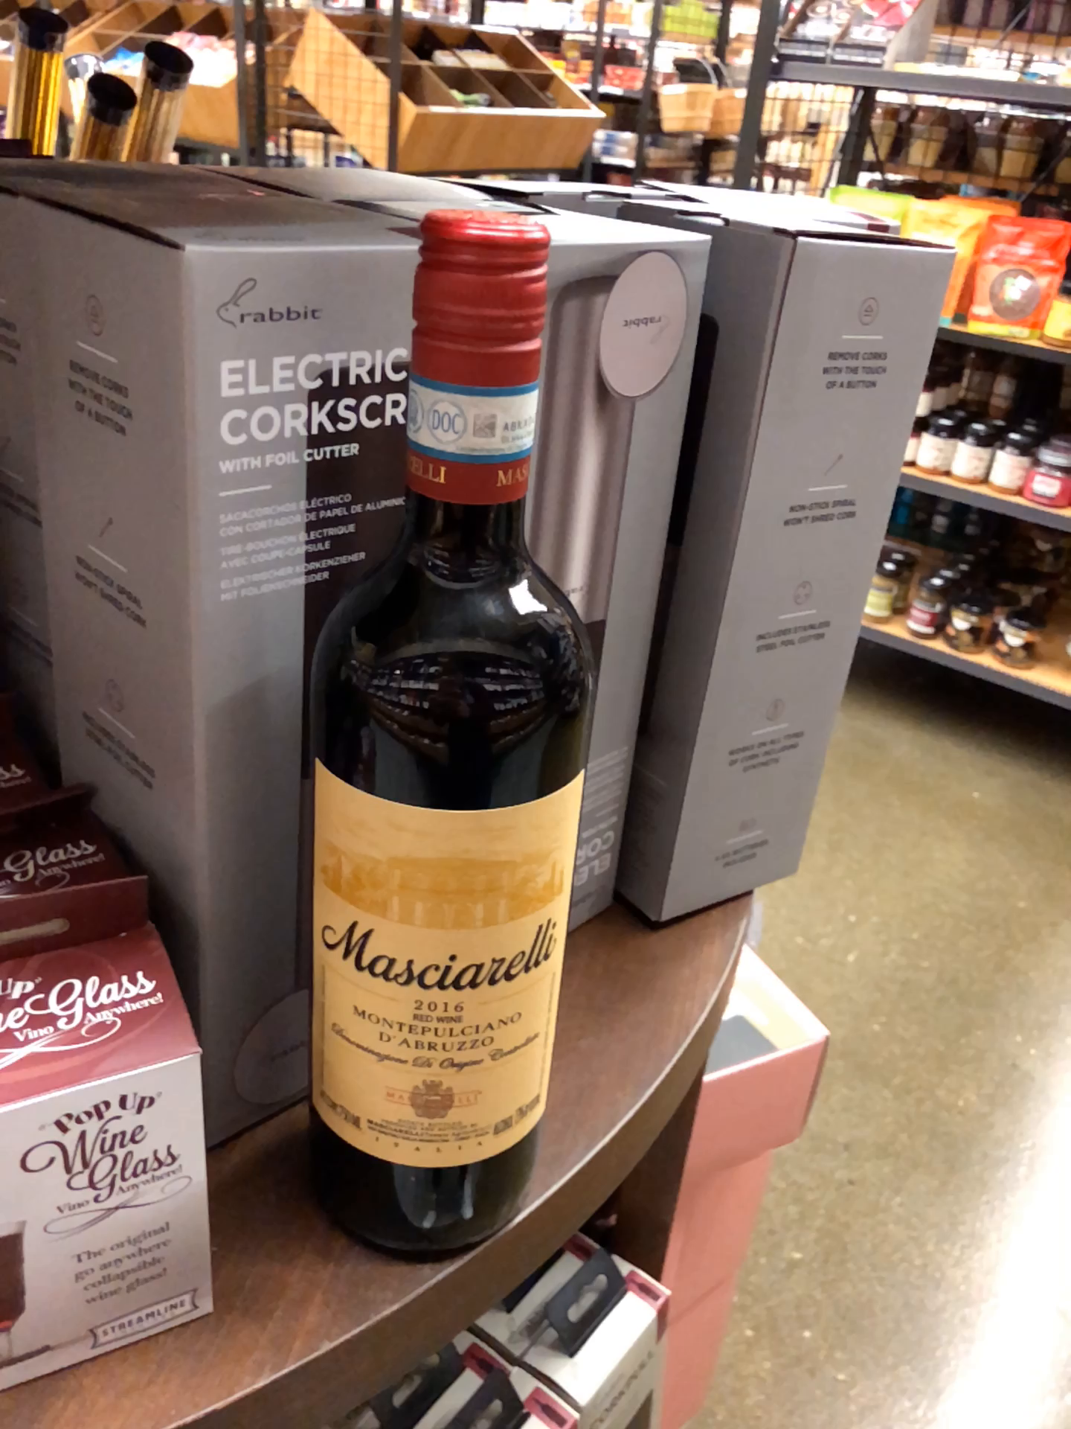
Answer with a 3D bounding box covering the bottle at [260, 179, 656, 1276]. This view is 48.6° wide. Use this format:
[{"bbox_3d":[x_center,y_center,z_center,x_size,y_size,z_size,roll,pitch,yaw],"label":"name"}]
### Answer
[{"bbox_3d":[-0.024,0.019,0.313,0.072,0.283,0.075,4,28,-2],"label":"bottle"}]
